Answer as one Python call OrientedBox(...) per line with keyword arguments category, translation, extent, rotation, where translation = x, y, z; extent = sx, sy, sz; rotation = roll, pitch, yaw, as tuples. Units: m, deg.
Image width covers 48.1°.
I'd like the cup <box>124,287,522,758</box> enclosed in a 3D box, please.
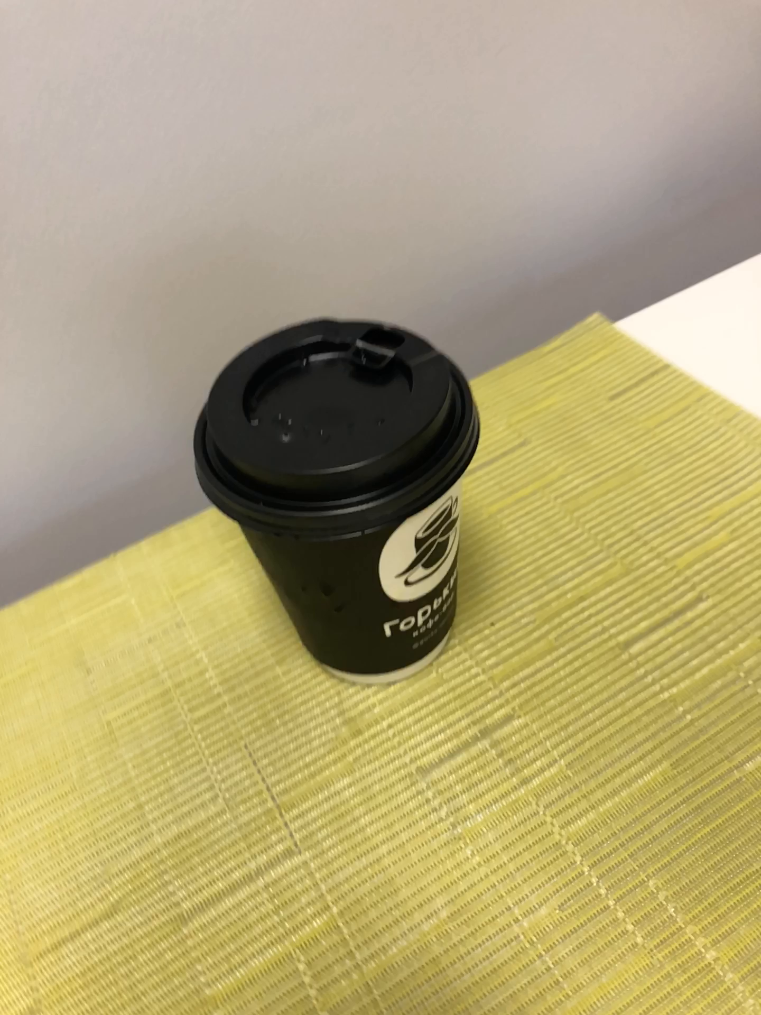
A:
OrientedBox(category="cup", translation=(-0.013, 0.005, 0.317), extent=(0.090, 0.119, 0.092), rotation=(-5, 45, 5))
